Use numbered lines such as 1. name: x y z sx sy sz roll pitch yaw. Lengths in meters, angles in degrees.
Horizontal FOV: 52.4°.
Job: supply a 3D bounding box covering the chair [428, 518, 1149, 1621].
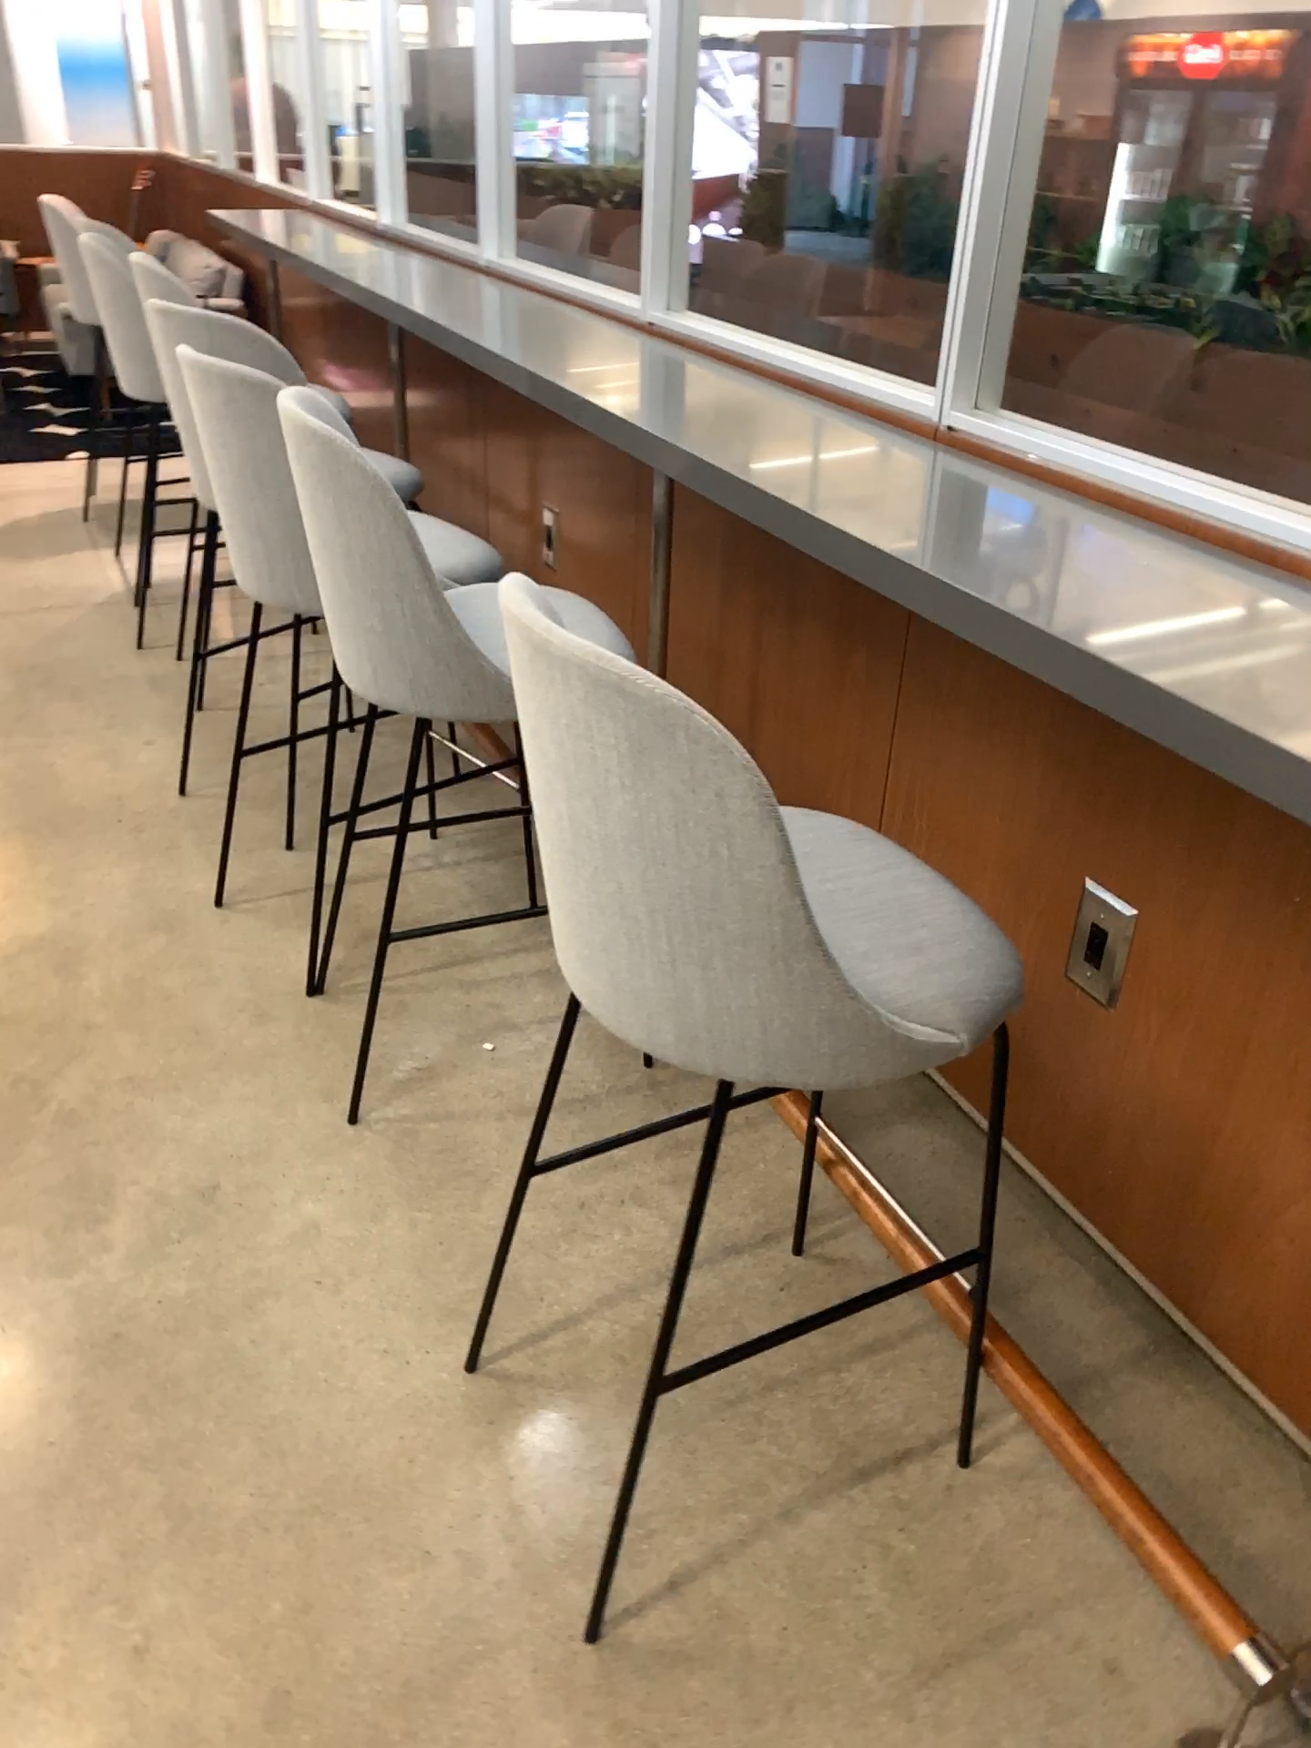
1. chair: 0.091 0.205 1.460 0.510 1.034 0.412 -15 34 -29
